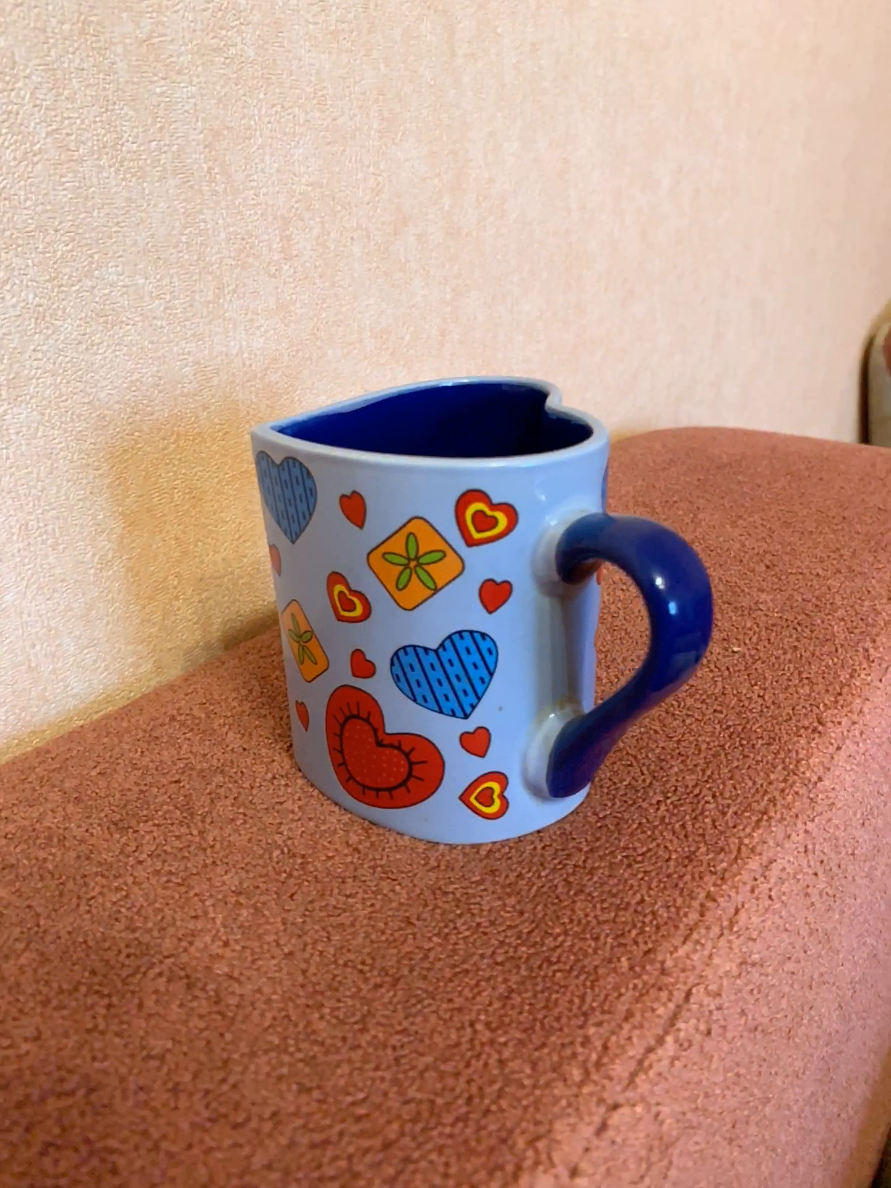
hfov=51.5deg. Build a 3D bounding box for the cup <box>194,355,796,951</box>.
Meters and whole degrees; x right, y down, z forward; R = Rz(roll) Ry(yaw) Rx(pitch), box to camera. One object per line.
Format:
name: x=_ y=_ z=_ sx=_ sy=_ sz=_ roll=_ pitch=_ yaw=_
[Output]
cup: x=0.012 y=0.001 z=0.220 sx=0.098 sy=0.090 sz=0.088 roll=20 pitch=33 yaw=38
